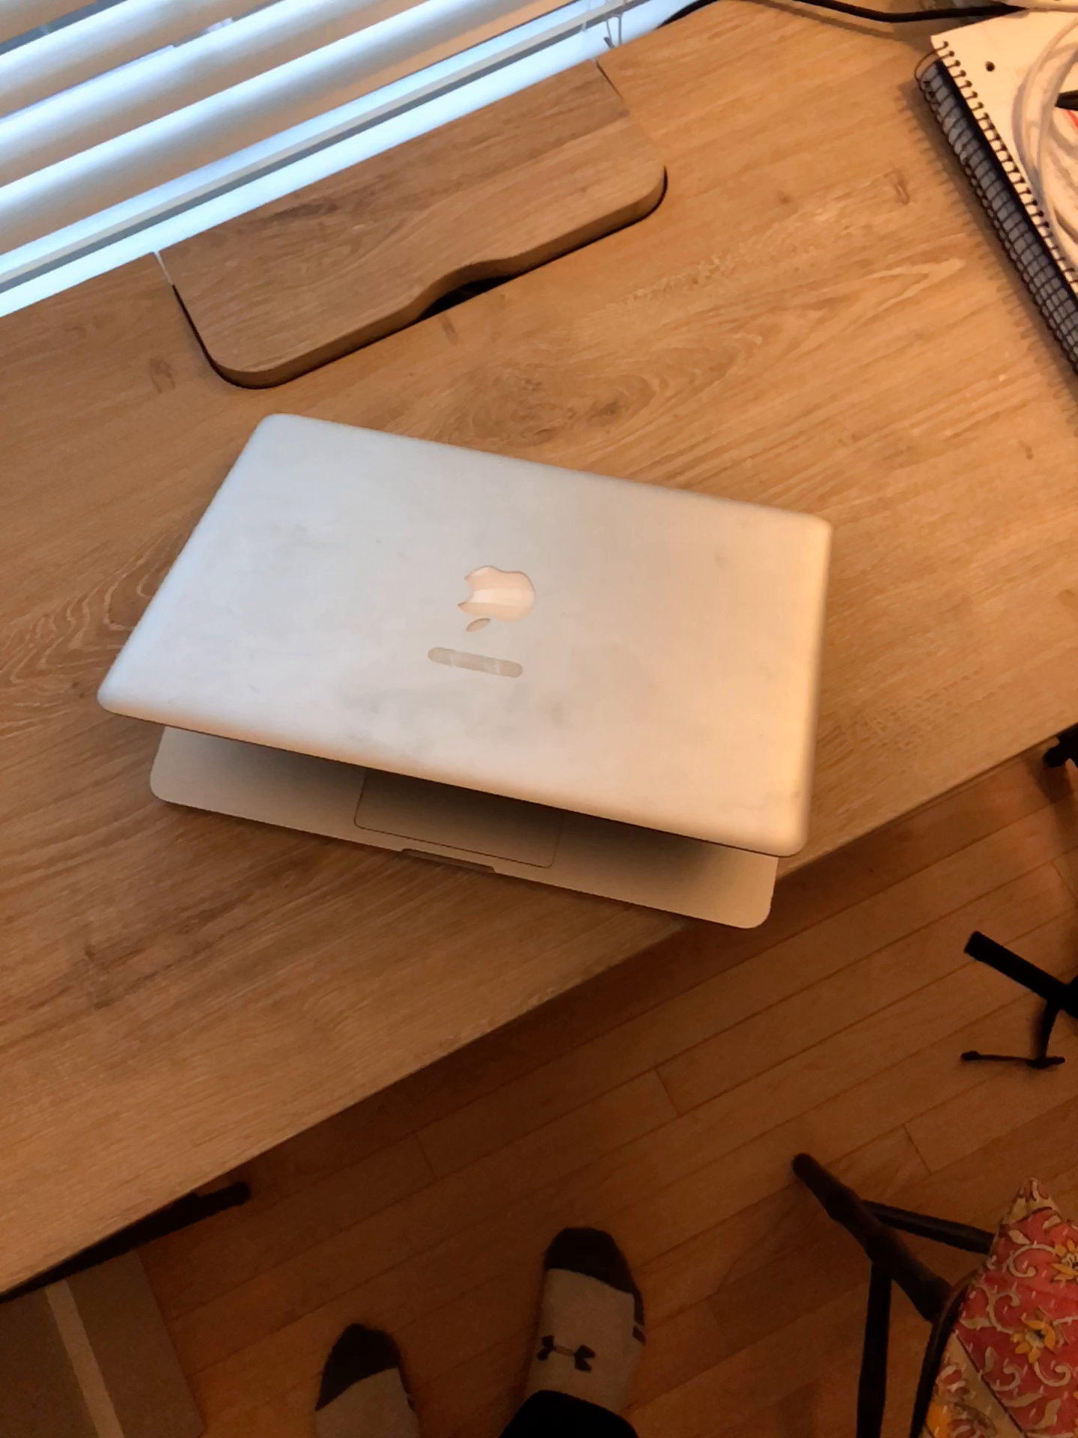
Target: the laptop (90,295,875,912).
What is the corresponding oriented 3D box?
[{"bbox_3d":[-0.019,-0.058,0.583,0.318,0.090,0.228,12,74,6],"label":"laptop"}]
